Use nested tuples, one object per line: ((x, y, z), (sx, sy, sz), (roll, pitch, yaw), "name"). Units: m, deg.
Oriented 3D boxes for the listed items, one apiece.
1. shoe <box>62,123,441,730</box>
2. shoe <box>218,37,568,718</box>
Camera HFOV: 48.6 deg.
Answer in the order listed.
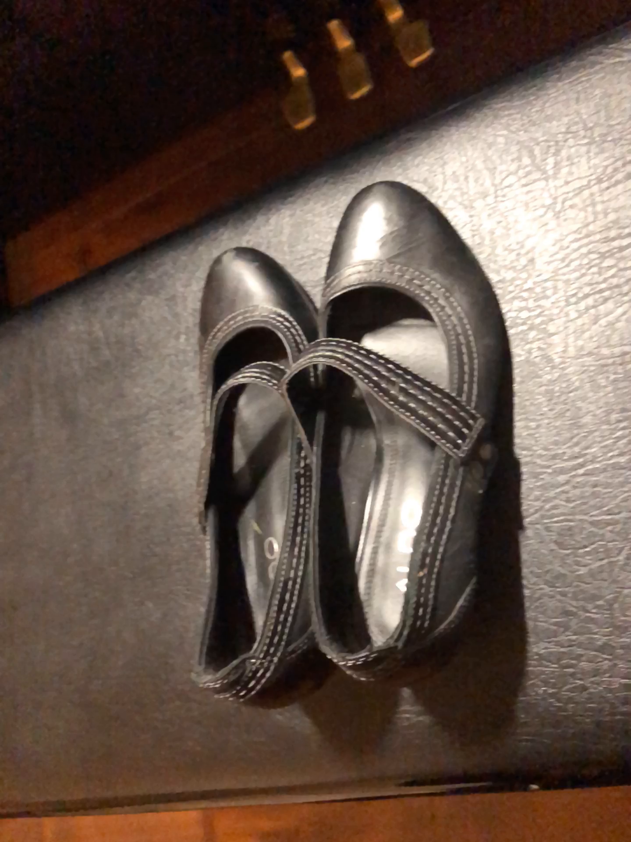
((-0.033, 0.005, 0.344), (0.100, 0.110, 0.240), (-19, 74, 24), "shoe")
((0.035, -0.011, 0.309), (0.100, 0.110, 0.240), (-9, 78, 26), "shoe")
